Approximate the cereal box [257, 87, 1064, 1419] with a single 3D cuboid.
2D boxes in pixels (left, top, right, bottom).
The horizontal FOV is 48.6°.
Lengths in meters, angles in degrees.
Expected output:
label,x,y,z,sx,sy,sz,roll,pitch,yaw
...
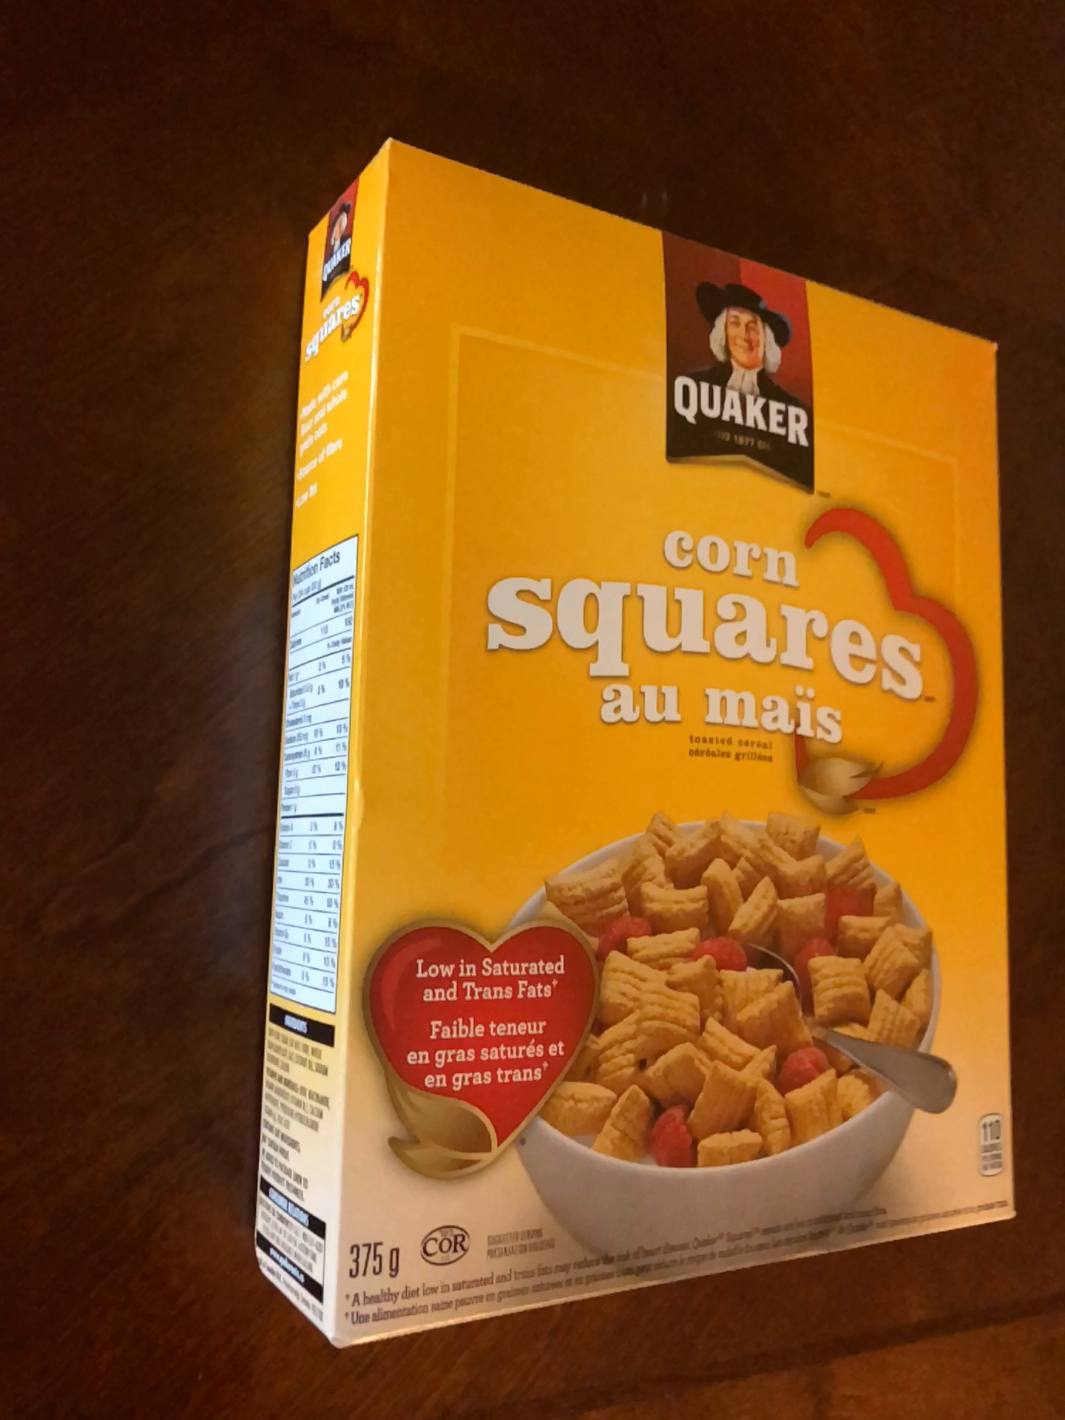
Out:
label,x,y,z,sx,sy,sz,roll,pitch,yaw
cereal box,0.049,0.012,0.315,0.221,0.050,0.270,6,82,-31
